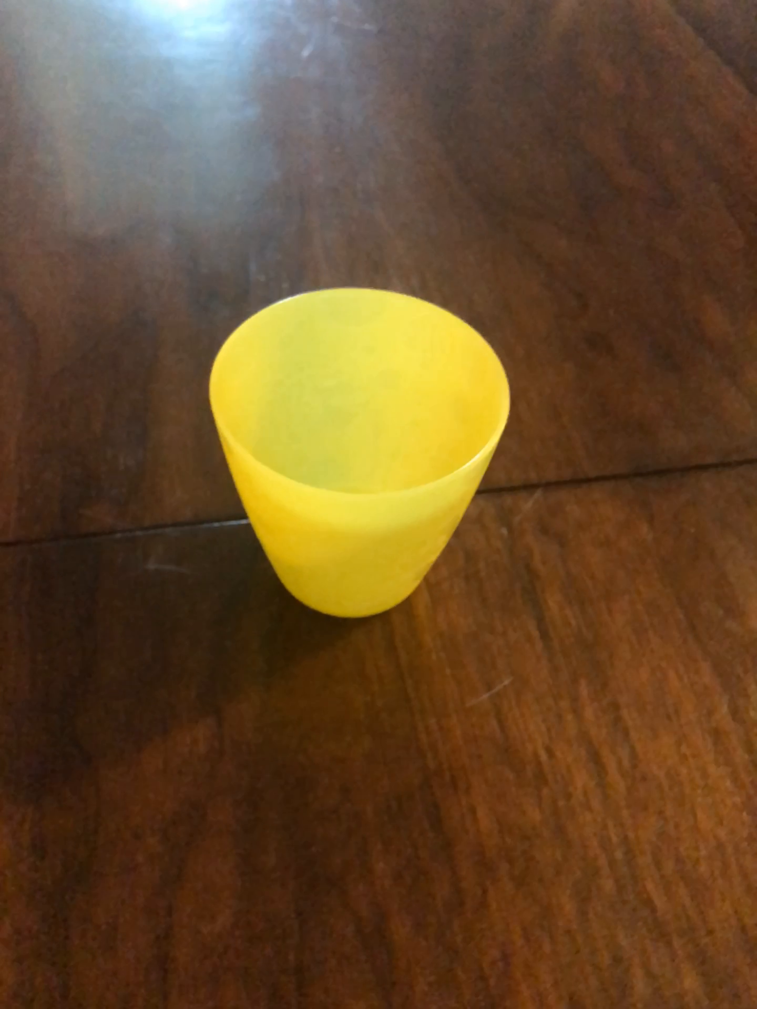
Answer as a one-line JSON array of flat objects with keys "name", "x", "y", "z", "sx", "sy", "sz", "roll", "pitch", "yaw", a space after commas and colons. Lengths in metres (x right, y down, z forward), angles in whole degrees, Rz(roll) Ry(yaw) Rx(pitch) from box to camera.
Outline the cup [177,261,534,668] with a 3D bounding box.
[{"name": "cup", "x": -0.012, "y": -0.011, "z": 0.245, "sx": 0.080, "sy": 0.080, "sz": 0.080, "roll": 2, "pitch": 51, "yaw": -3}]
